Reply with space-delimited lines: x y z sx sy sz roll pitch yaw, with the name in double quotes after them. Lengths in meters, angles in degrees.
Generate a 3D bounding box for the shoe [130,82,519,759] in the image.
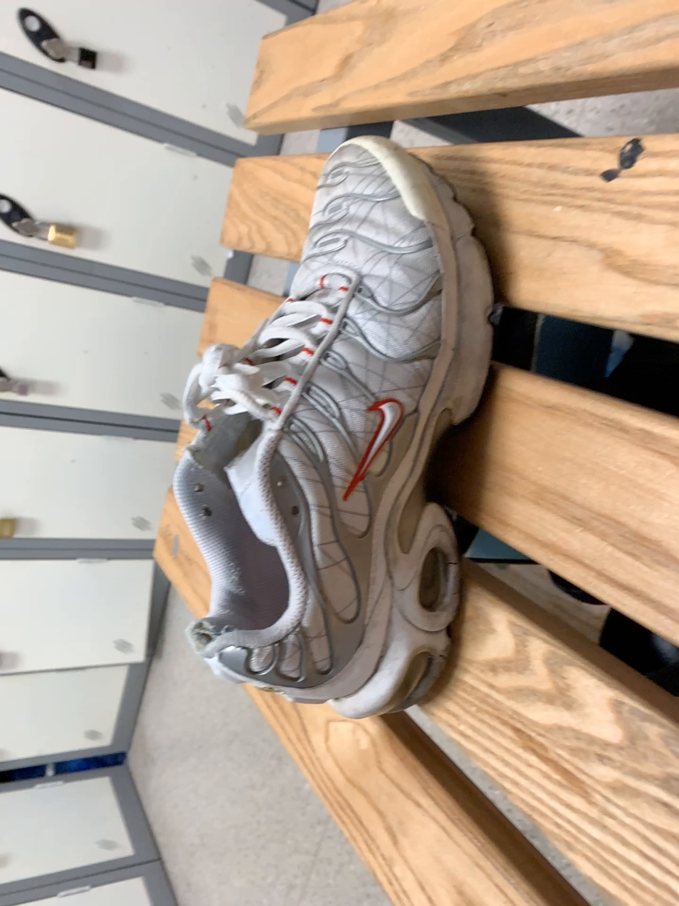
-0.010 -0.009 0.304 0.101 0.105 0.226 6 89 57 "shoe"
